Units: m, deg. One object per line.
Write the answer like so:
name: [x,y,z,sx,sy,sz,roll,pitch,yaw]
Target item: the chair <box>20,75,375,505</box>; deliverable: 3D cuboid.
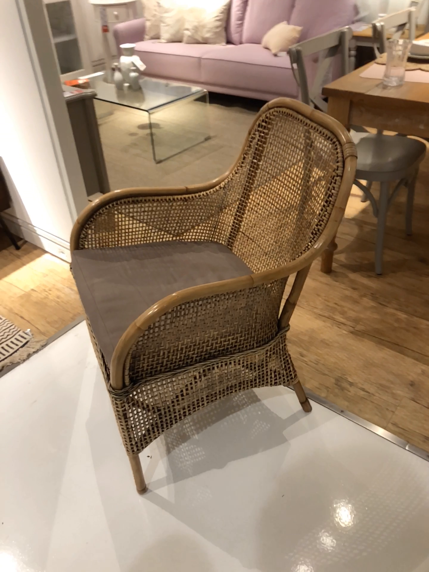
chair: [-0.051,-0.005,1.309,0.621,0.903,0.543,-18,39,-19]
